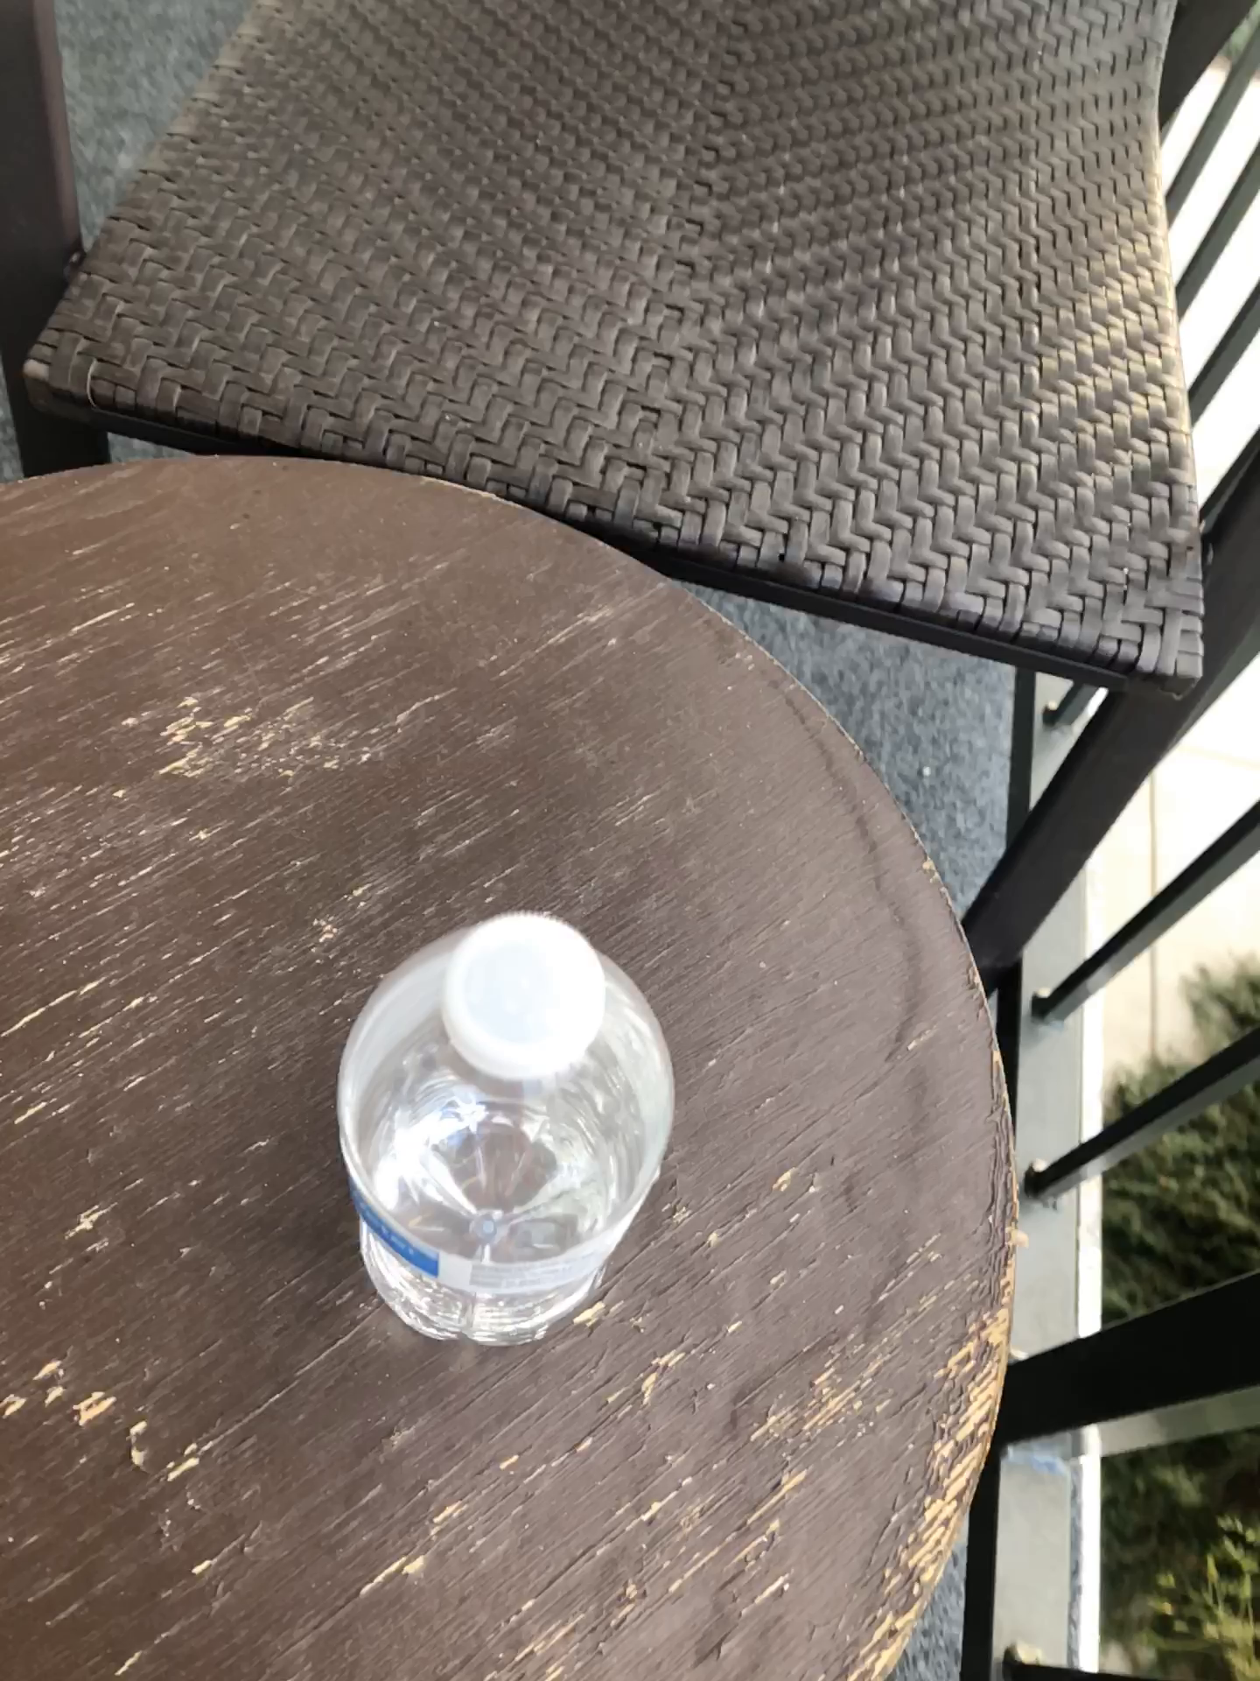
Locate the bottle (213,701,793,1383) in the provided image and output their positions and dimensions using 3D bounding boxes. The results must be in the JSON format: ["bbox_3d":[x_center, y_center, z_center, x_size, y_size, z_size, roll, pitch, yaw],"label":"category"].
[{"bbox_3d":[-0.034,0.057,0.299,0.080,0.189,0.075,4,61,-6],"label":"bottle"}]
